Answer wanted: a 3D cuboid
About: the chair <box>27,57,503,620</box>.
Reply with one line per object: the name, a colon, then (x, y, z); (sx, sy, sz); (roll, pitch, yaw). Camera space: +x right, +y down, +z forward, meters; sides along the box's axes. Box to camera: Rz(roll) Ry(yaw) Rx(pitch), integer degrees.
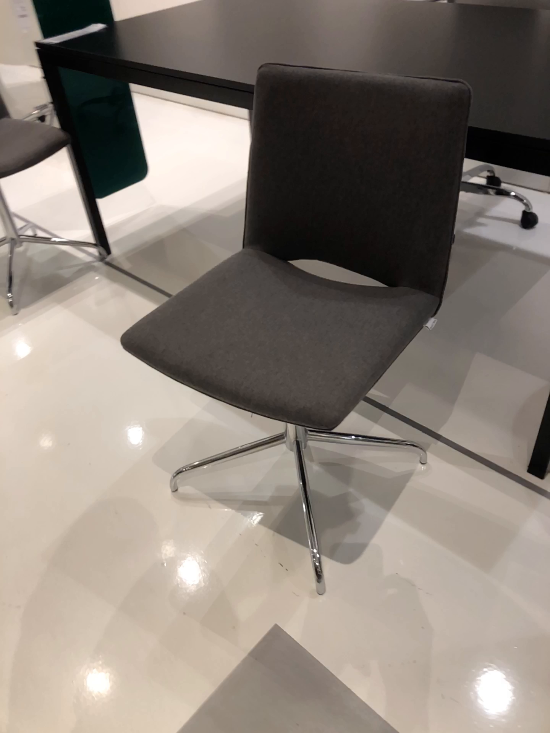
chair: (0.030, -0.064, 1.193); (0.521, 0.843, 0.533); (21, 46, 29)
